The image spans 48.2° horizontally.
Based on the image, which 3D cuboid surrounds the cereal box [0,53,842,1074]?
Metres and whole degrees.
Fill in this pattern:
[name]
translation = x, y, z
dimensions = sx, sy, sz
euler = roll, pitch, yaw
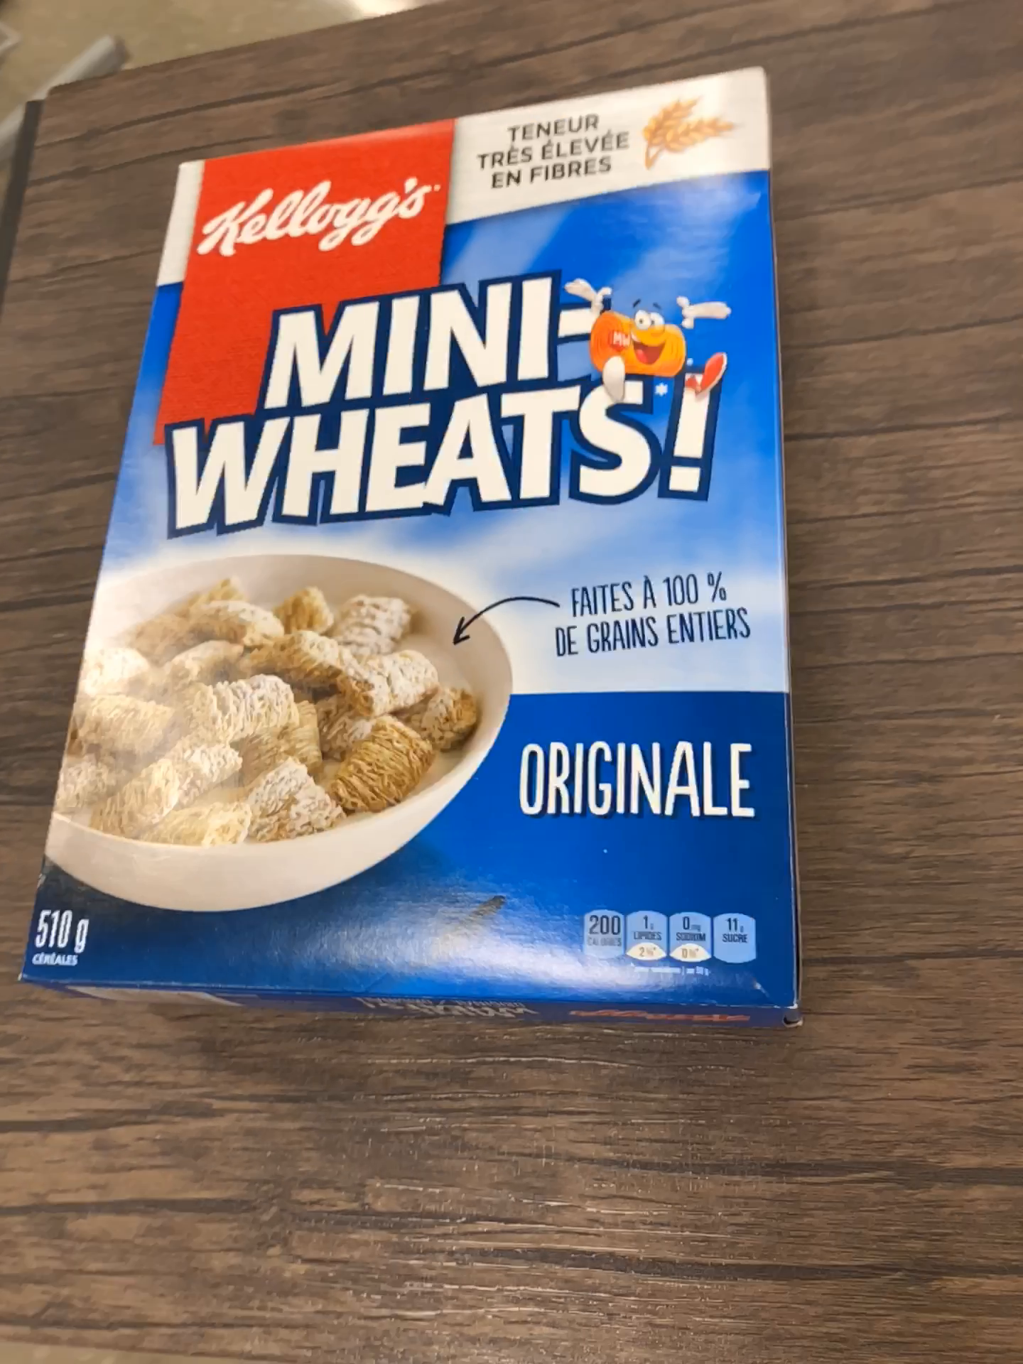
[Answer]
[cereal box]
translation = -0.025, -0.037, 0.325
dimensions = 0.210, 0.060, 0.270
euler = -2, 67, 13
